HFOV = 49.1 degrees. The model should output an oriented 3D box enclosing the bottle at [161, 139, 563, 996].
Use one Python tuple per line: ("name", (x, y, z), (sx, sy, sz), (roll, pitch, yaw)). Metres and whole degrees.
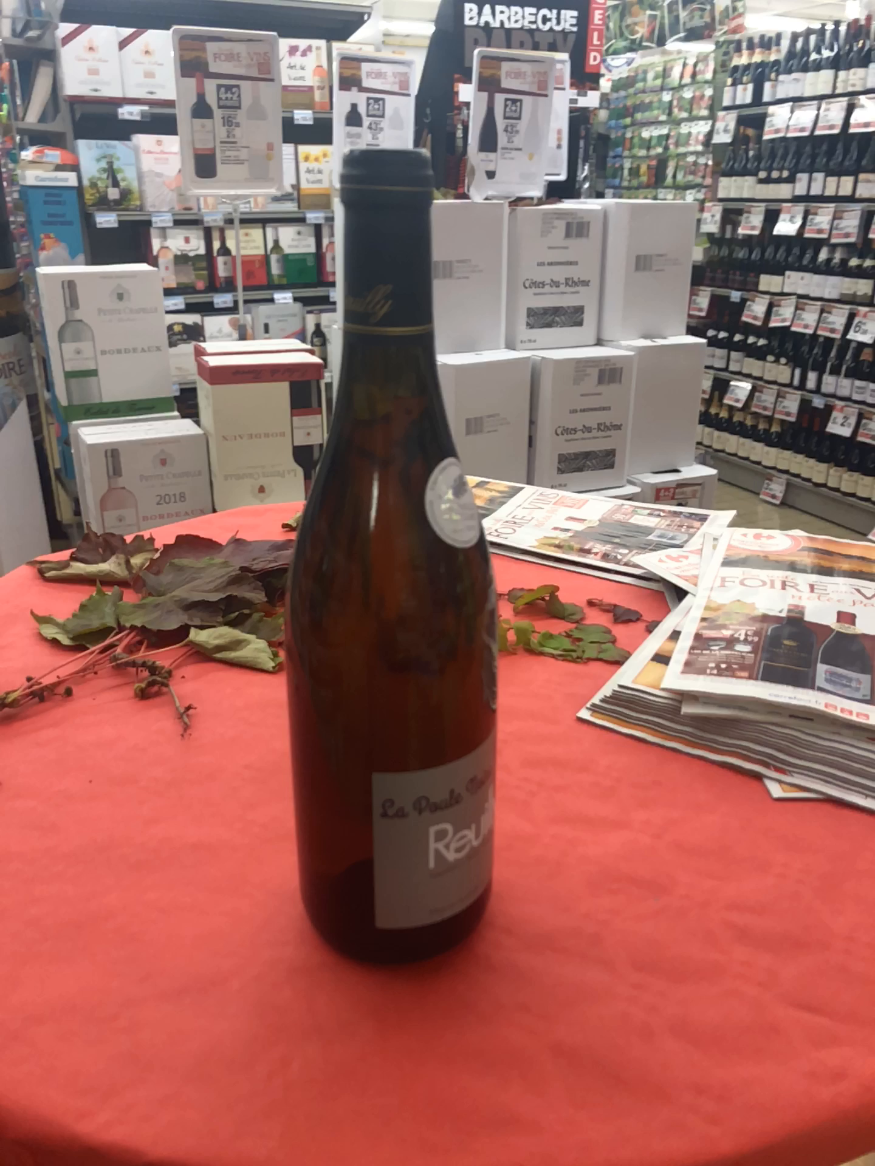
("bottle", (-0.020, -0.005, 0.350), (0.090, 0.279, 0.091), (0, 21, 0))
